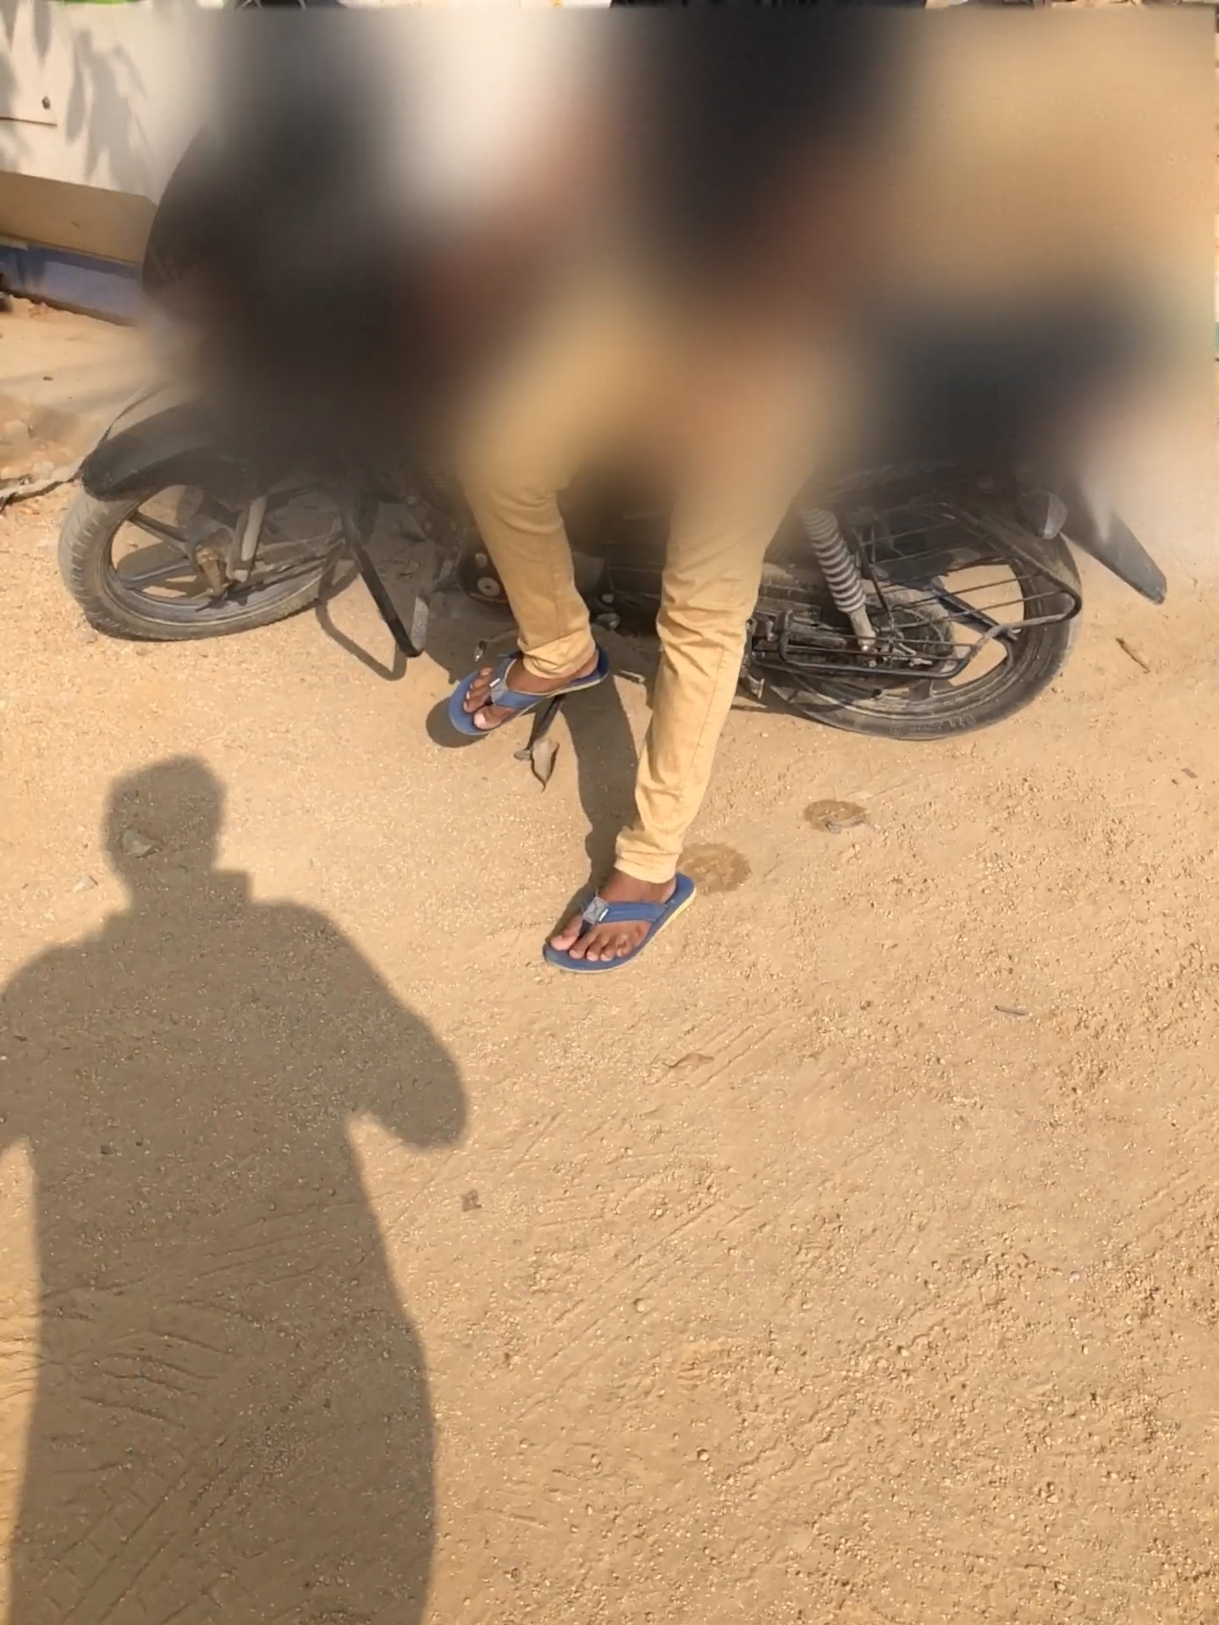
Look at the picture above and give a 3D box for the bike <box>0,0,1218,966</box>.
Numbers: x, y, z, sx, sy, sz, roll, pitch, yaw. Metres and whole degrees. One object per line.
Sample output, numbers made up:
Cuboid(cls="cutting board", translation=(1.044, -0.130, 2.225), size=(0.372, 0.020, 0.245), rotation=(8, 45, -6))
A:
Cuboid(cls="bike", translation=(-0.115, -0.583, 2.070), size=(1.691, 1.214, 0.885), rotation=(4, 35, 3))
